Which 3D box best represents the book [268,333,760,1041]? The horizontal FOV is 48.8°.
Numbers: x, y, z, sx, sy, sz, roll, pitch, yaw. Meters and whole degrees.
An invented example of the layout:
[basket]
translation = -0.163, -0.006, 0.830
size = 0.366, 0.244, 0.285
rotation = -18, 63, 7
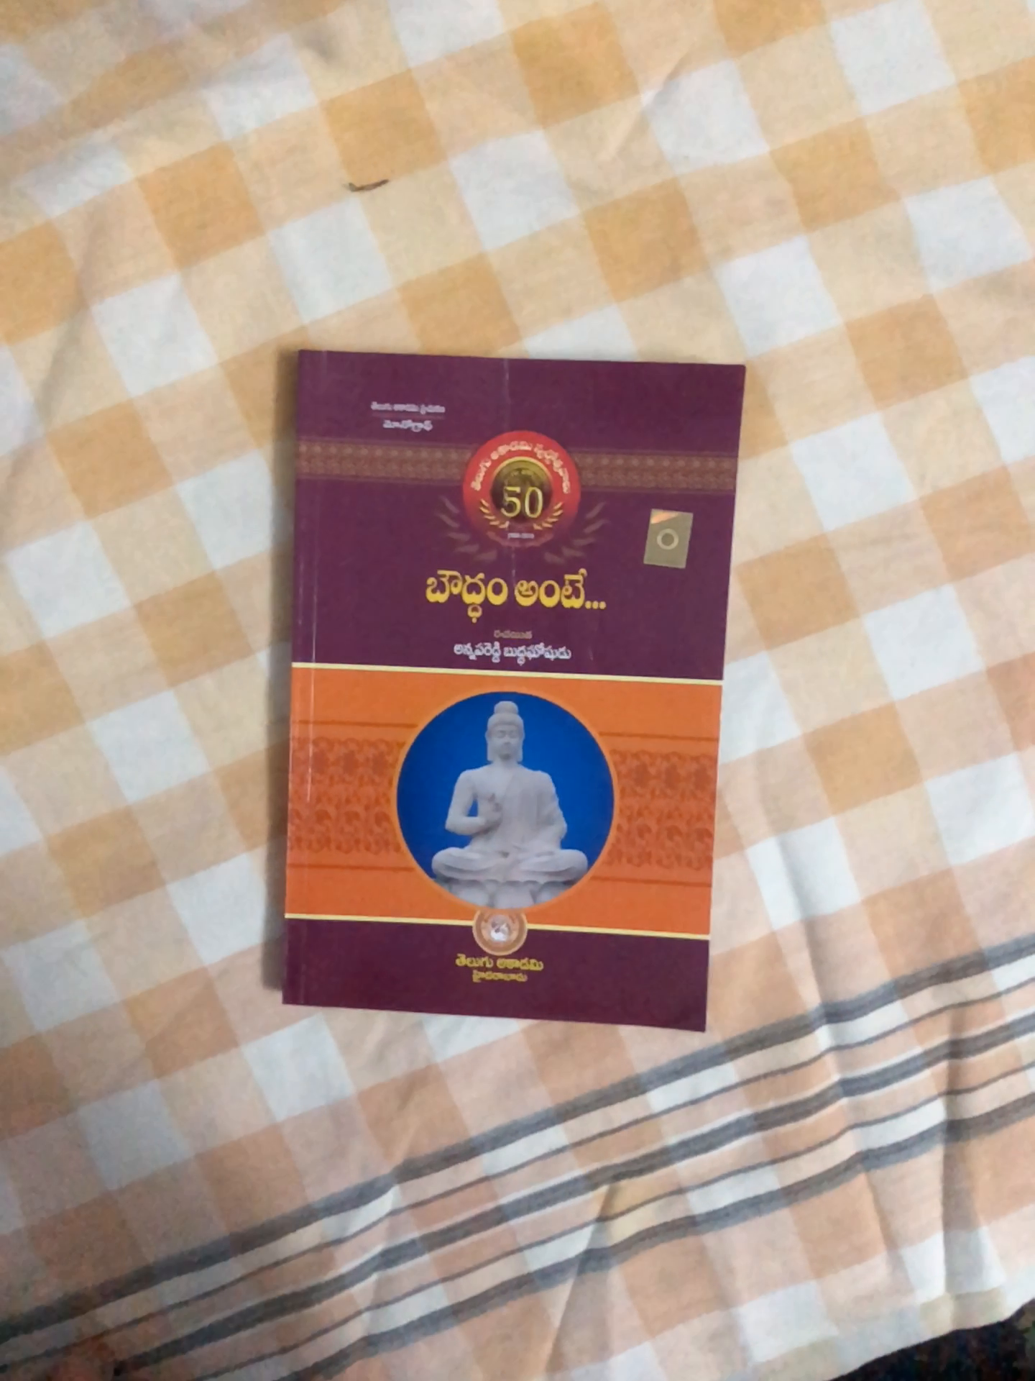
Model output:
[book]
translation = -0.003, 0.002, 0.407
size = 0.160, 0.020, 0.240
rotation = 3, 95, -1
